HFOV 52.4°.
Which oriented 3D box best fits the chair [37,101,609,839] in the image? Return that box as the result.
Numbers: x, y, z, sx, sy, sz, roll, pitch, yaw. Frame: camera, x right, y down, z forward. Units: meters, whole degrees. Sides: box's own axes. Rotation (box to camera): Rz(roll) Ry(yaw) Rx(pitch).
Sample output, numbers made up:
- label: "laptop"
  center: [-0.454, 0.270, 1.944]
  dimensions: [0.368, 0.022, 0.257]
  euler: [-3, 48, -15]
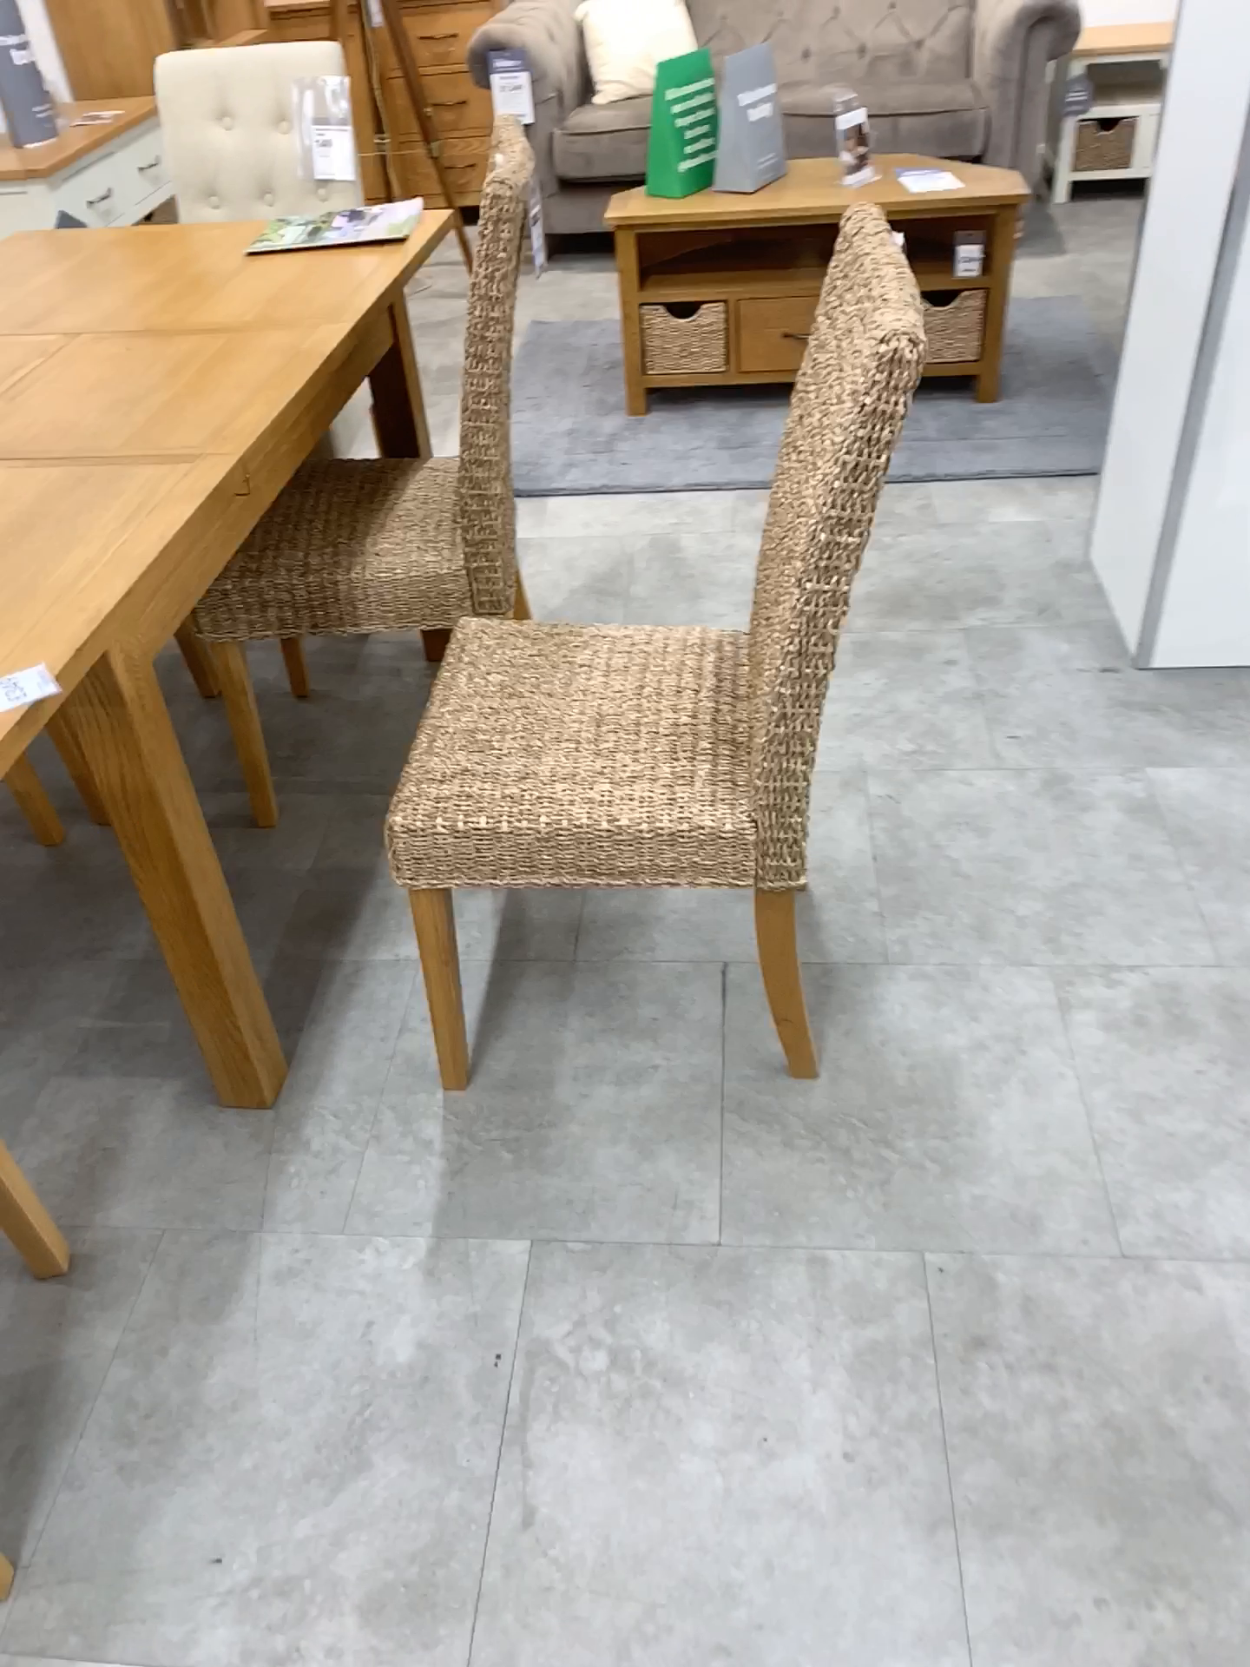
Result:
- label: "chair"
  center: [-0.352, -0.521, 1.889]
  dimensions: [0.564, 0.870, 0.530]
  euler: [-5, 39, 1]

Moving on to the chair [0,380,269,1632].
- label: "chair"
  center: [-0.775, 0.179, 0.991]
  dimensions: [0.724, 0.840, 0.429]
  euler: [-7, 39, -1]

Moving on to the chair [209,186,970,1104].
- label: "chair"
  center: [0.018, -0.178, 1.407]
  dimensions: [0.574, 0.840, 0.509]
  euler: [0, 39, 7]
